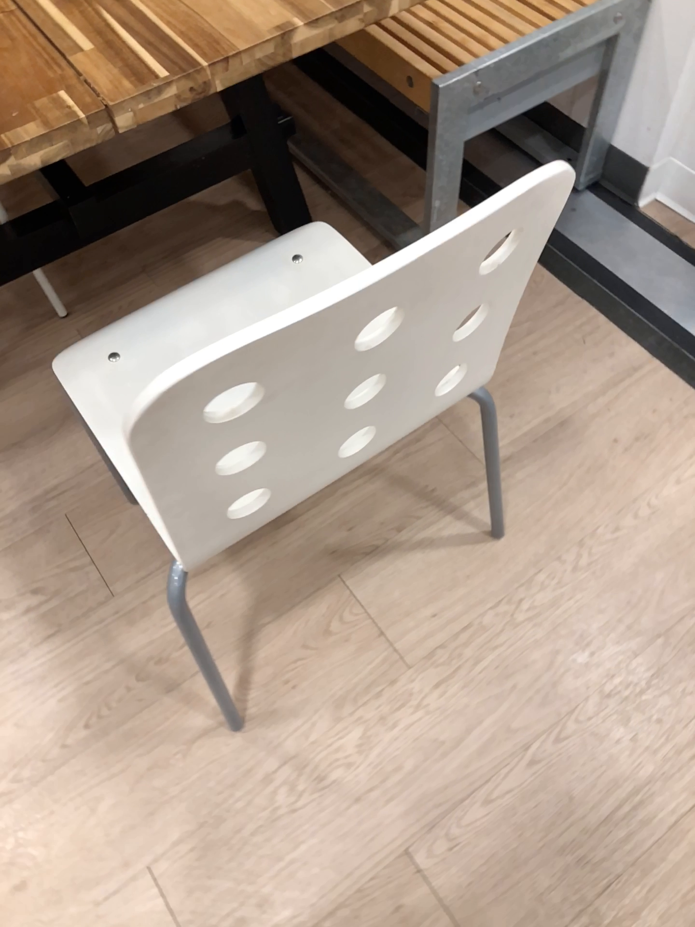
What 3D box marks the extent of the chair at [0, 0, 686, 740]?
[{"bbox_3d":[-0.081,-0.119,0.951,0.571,0.717,0.492,-35,62,-18],"label":"chair"}]
